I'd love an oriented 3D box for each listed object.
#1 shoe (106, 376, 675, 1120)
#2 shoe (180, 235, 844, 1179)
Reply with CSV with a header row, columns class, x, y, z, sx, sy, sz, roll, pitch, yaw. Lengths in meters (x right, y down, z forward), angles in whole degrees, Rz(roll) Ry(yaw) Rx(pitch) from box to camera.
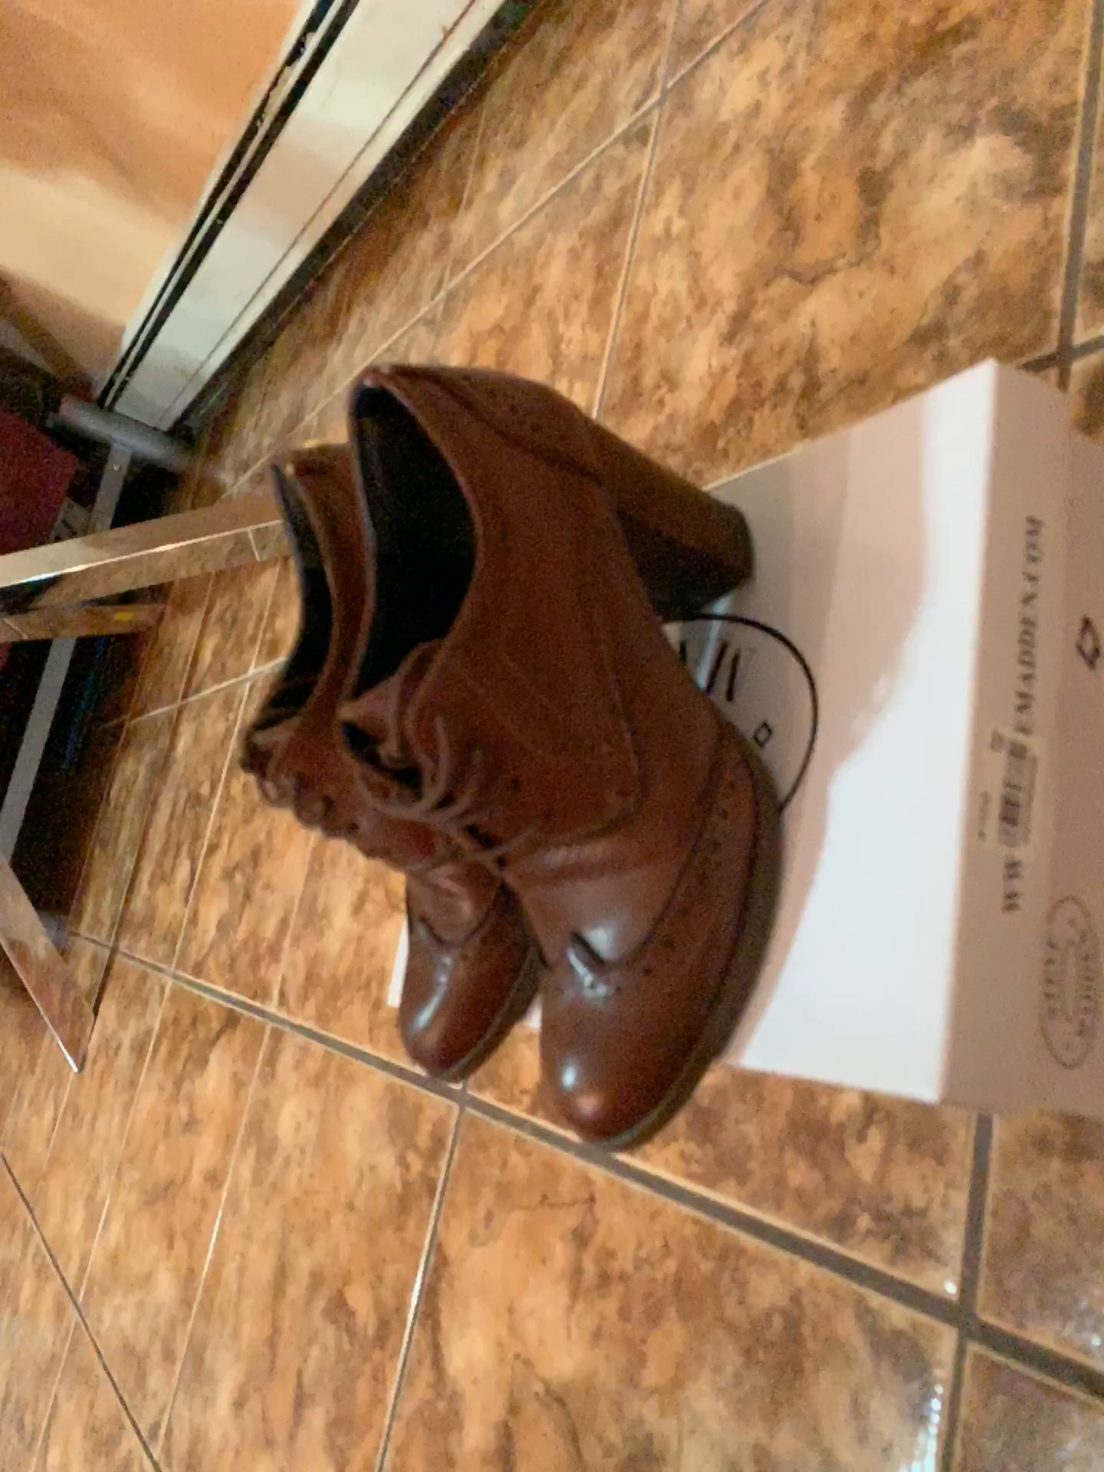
class,x,y,z,sx,sy,sz,roll,pitch,yaw
shoe,-0.058,0.010,0.425,0.096,0.136,0.228,-7,67,58
shoe,-0.004,0.000,0.338,0.096,0.136,0.228,-19,57,55
